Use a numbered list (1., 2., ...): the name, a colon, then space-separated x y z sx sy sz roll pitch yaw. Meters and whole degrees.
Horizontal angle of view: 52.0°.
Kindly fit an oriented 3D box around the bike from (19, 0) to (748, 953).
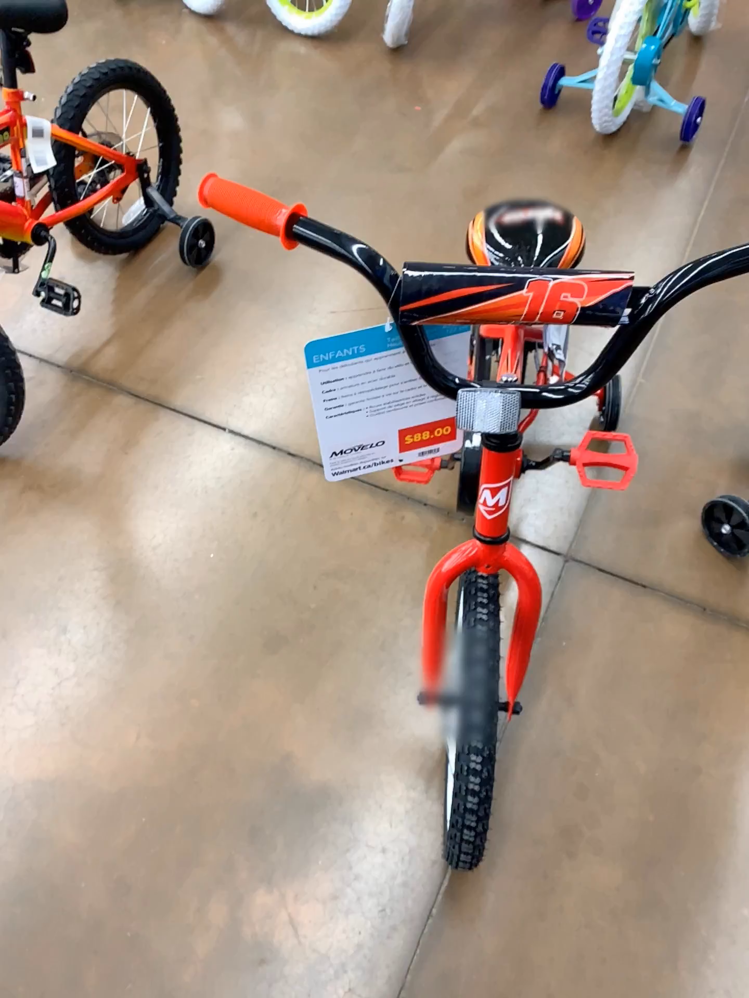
1. bike: 0.198 -0.127 1.055 0.515 0.954 1.145 6 51 6
